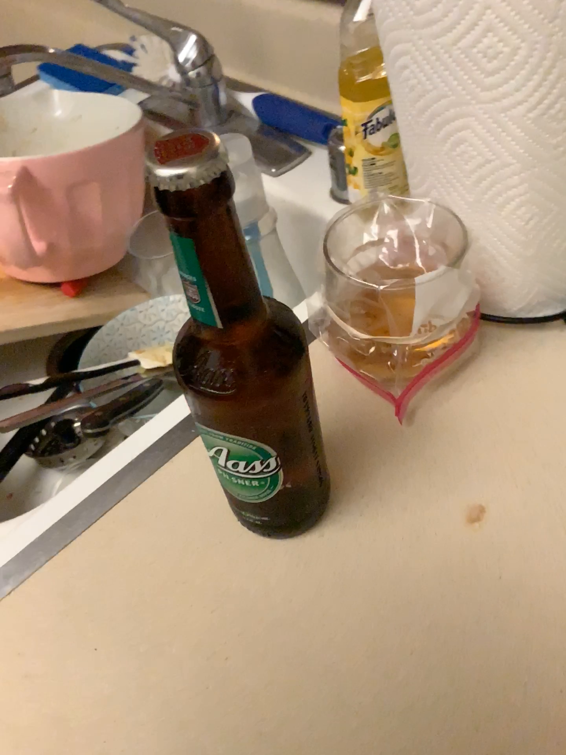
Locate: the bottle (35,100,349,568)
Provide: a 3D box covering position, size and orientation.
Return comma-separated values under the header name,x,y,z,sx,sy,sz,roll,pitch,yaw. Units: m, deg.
name,x,y,z,sx,sy,sz,roll,pitch,yaw
bottle,-0.021,0.000,0.296,0.070,0.230,0.060,16,54,23
